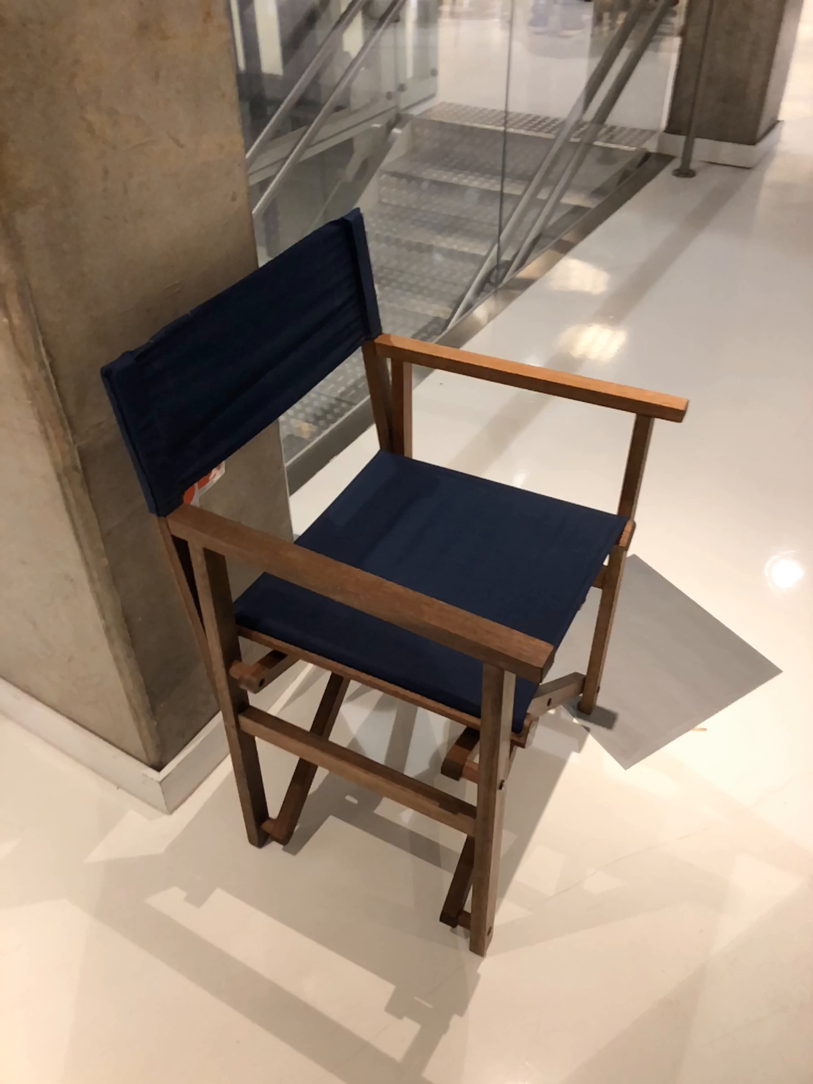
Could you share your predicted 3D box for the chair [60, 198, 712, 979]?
[{"bbox_3d":[0.019,0.045,1.236,0.501,0.774,0.584,19,44,23],"label":"chair"}]
